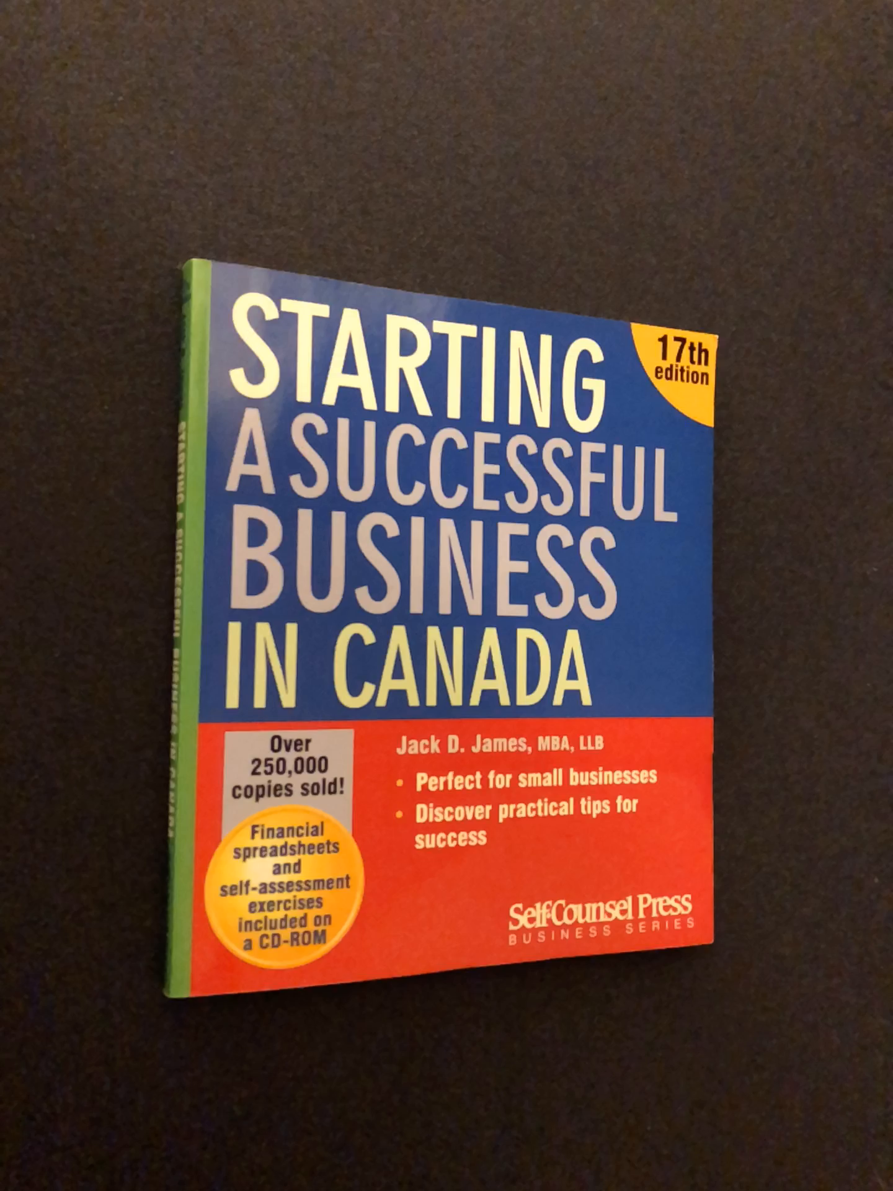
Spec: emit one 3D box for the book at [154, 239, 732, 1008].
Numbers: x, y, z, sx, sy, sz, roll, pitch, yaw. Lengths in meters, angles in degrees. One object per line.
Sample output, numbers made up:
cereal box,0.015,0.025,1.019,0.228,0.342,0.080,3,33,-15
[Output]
book,0.006,0.012,0.369,0.210,0.040,0.247,3,86,-20
